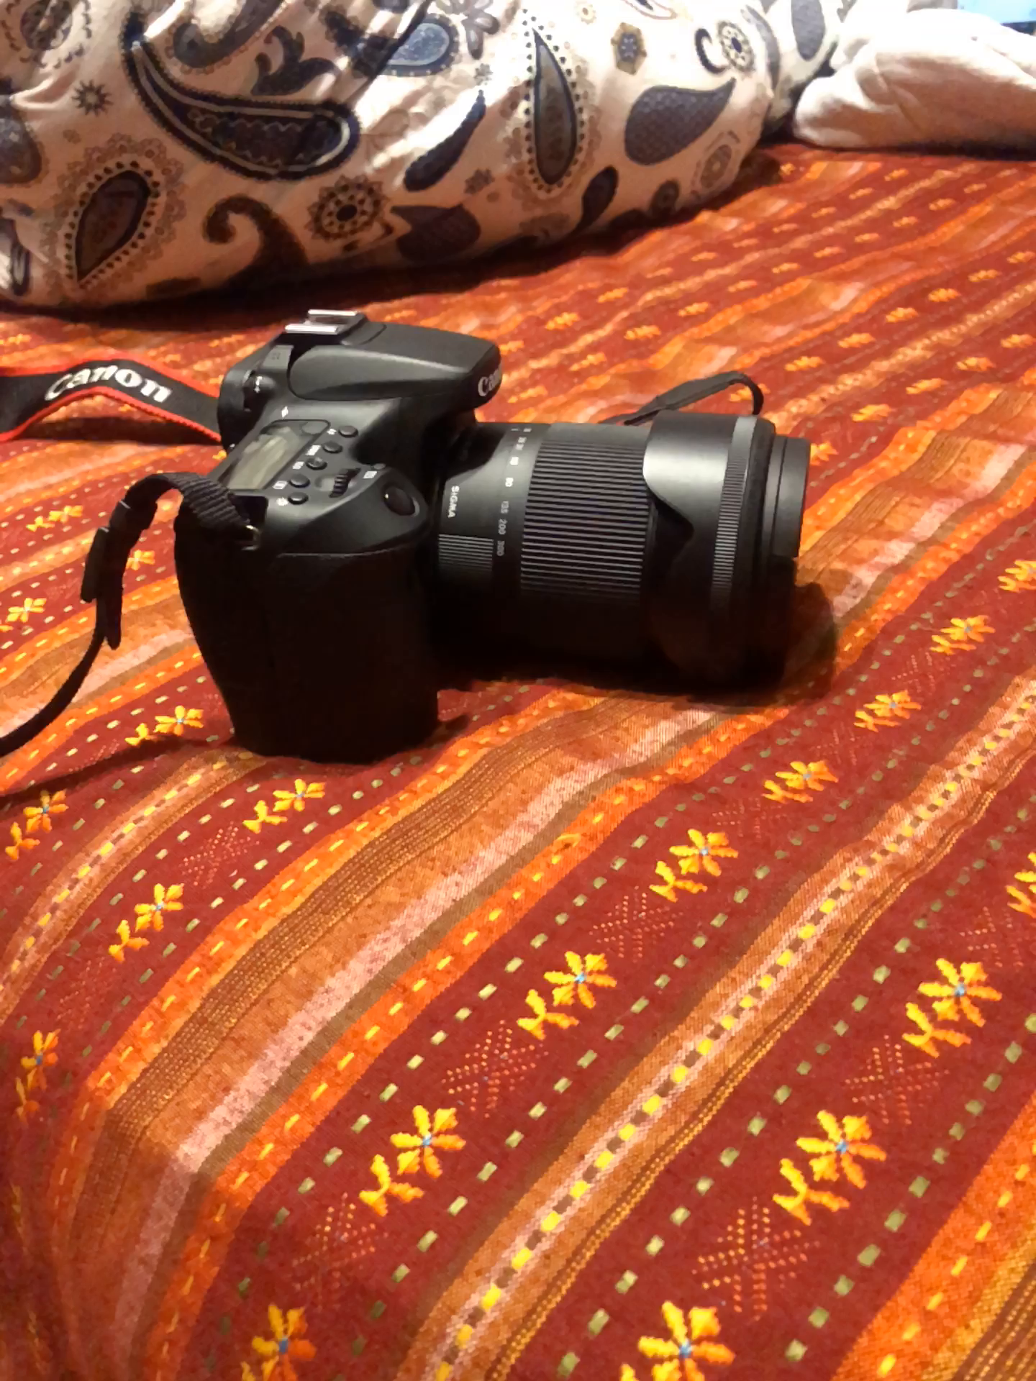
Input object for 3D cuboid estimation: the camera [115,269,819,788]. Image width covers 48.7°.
[{"bbox_3d":[-0.001,-0.054,0.349,0.170,0.099,0.131,1,36,12],"label":"camera"}]
